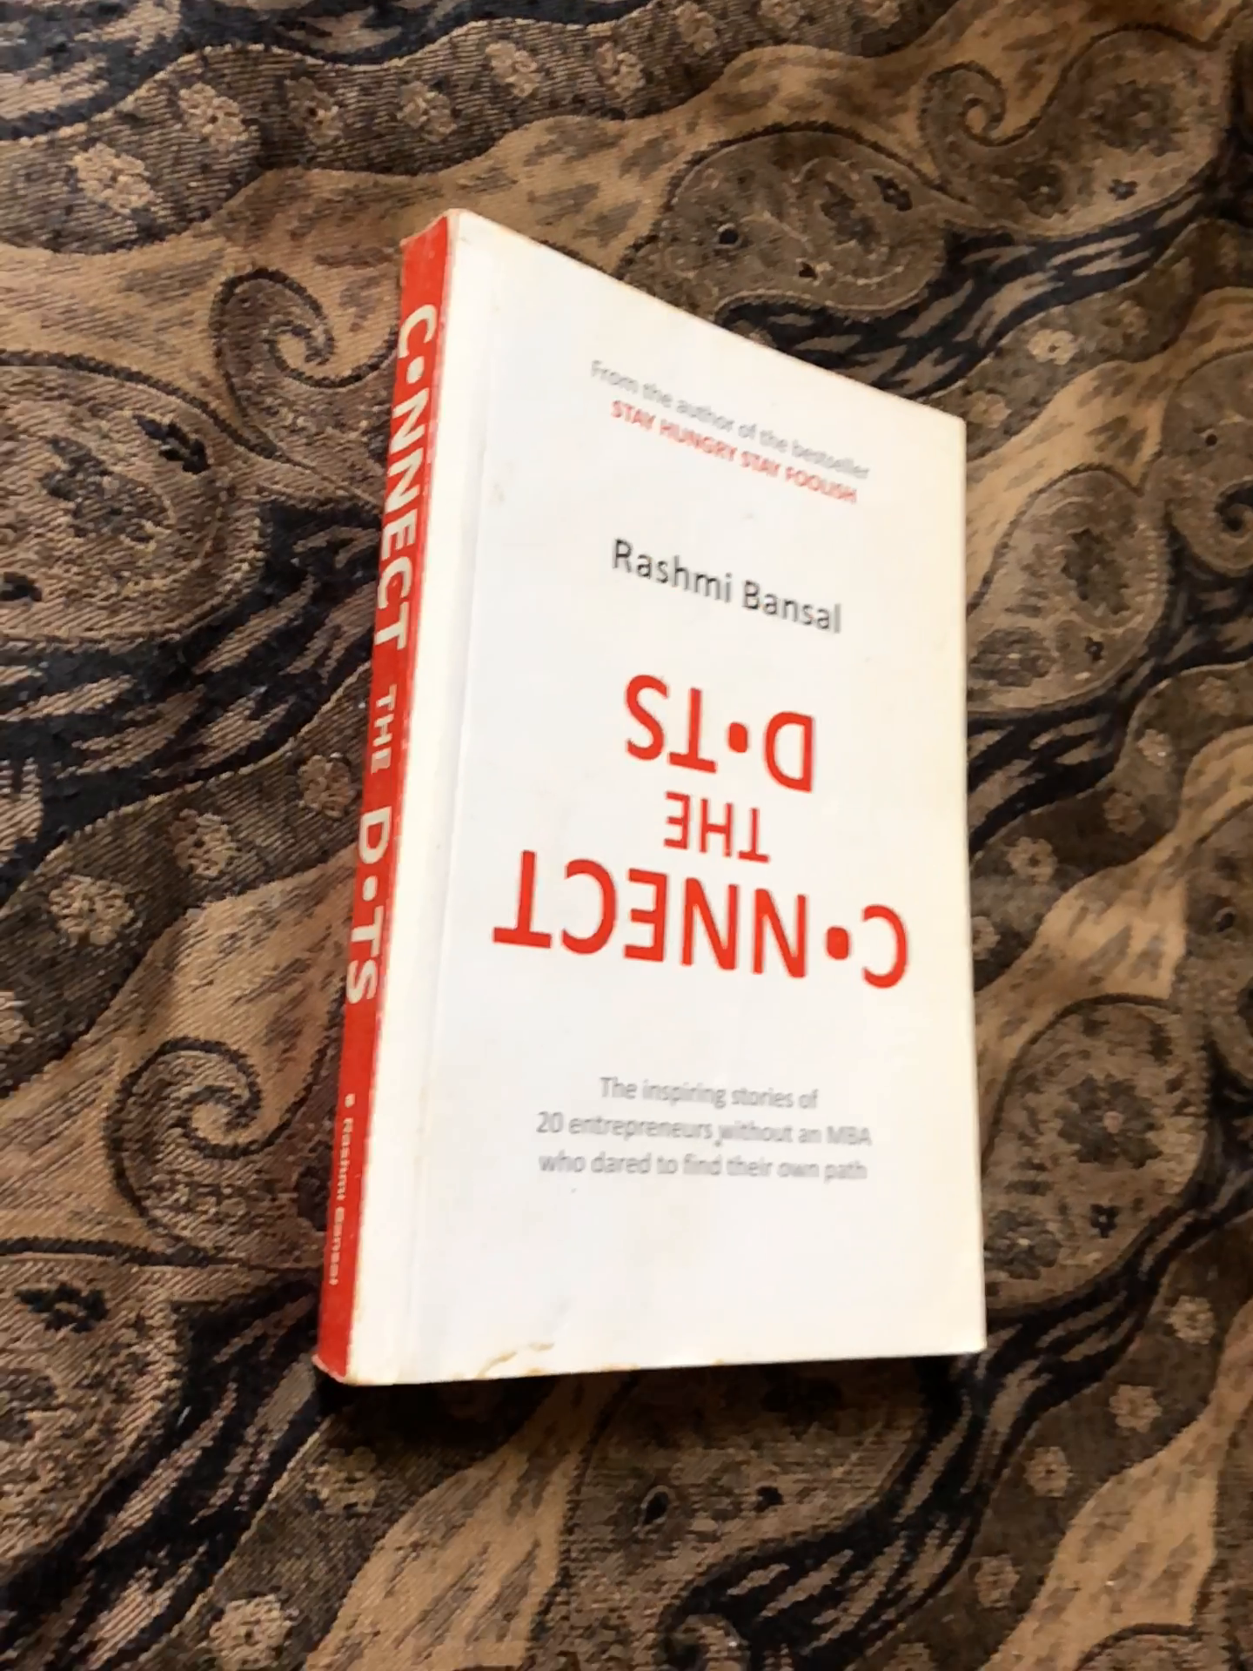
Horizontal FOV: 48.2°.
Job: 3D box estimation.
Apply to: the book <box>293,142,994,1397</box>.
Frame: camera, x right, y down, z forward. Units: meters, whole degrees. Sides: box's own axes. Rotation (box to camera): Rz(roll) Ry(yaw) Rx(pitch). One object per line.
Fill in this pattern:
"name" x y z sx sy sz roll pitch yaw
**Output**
"book" 0.012 -0.009 0.287 0.131 0.040 0.220 9 77 -29
